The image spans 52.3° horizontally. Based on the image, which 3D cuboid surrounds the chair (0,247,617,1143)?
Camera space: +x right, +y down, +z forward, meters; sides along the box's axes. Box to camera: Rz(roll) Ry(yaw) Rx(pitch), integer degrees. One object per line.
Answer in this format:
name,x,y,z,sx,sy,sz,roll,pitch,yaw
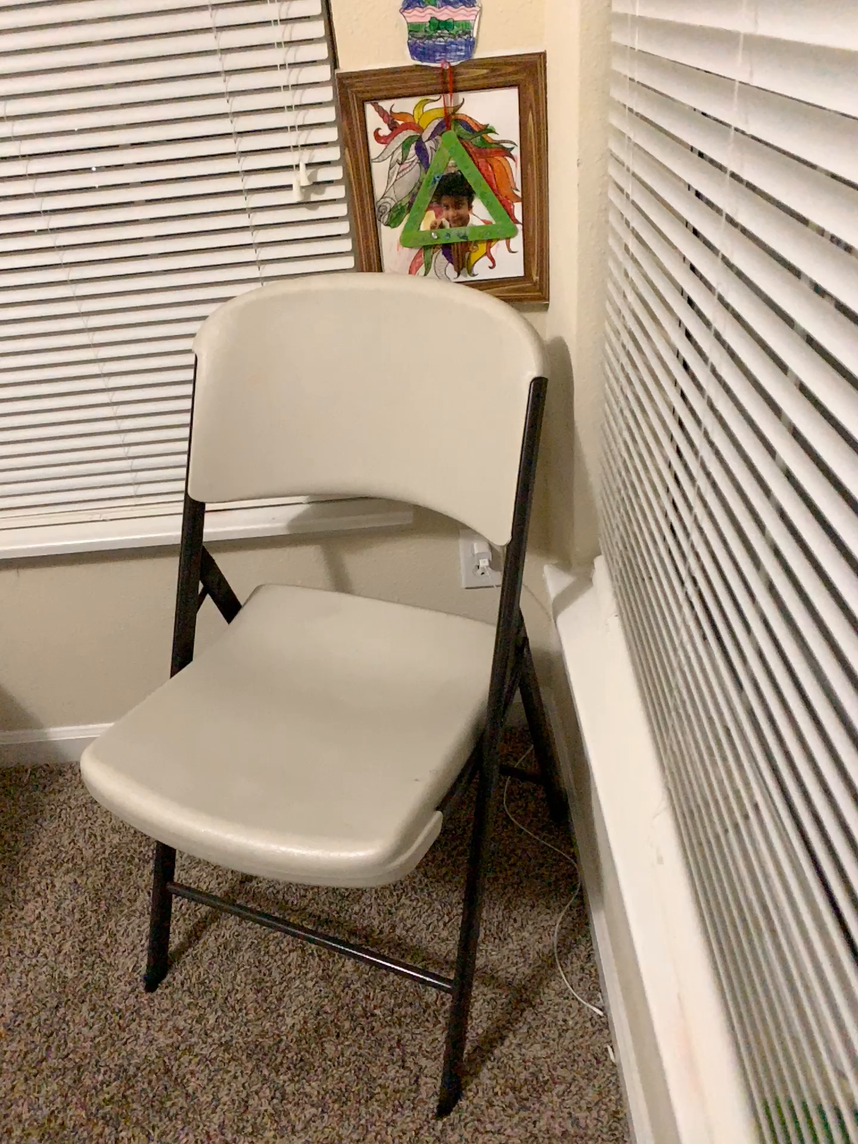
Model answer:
chair,-0.166,0.091,1.140,0.611,0.816,0.682,11,36,25
